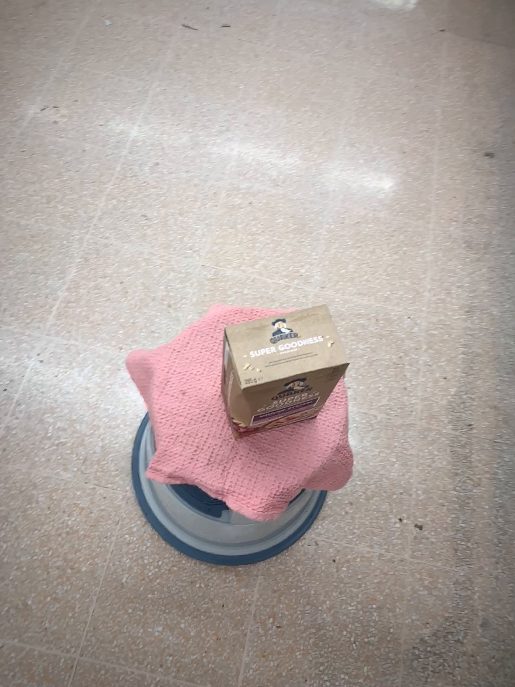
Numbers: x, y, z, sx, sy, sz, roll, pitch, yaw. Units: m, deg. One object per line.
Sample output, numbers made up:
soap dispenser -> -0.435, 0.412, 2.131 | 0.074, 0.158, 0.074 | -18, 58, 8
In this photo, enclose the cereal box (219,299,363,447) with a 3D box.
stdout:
cereal box -> 0.029, 0.046, 0.669 | 0.130, 0.209, 0.090 | -14, 68, -12
